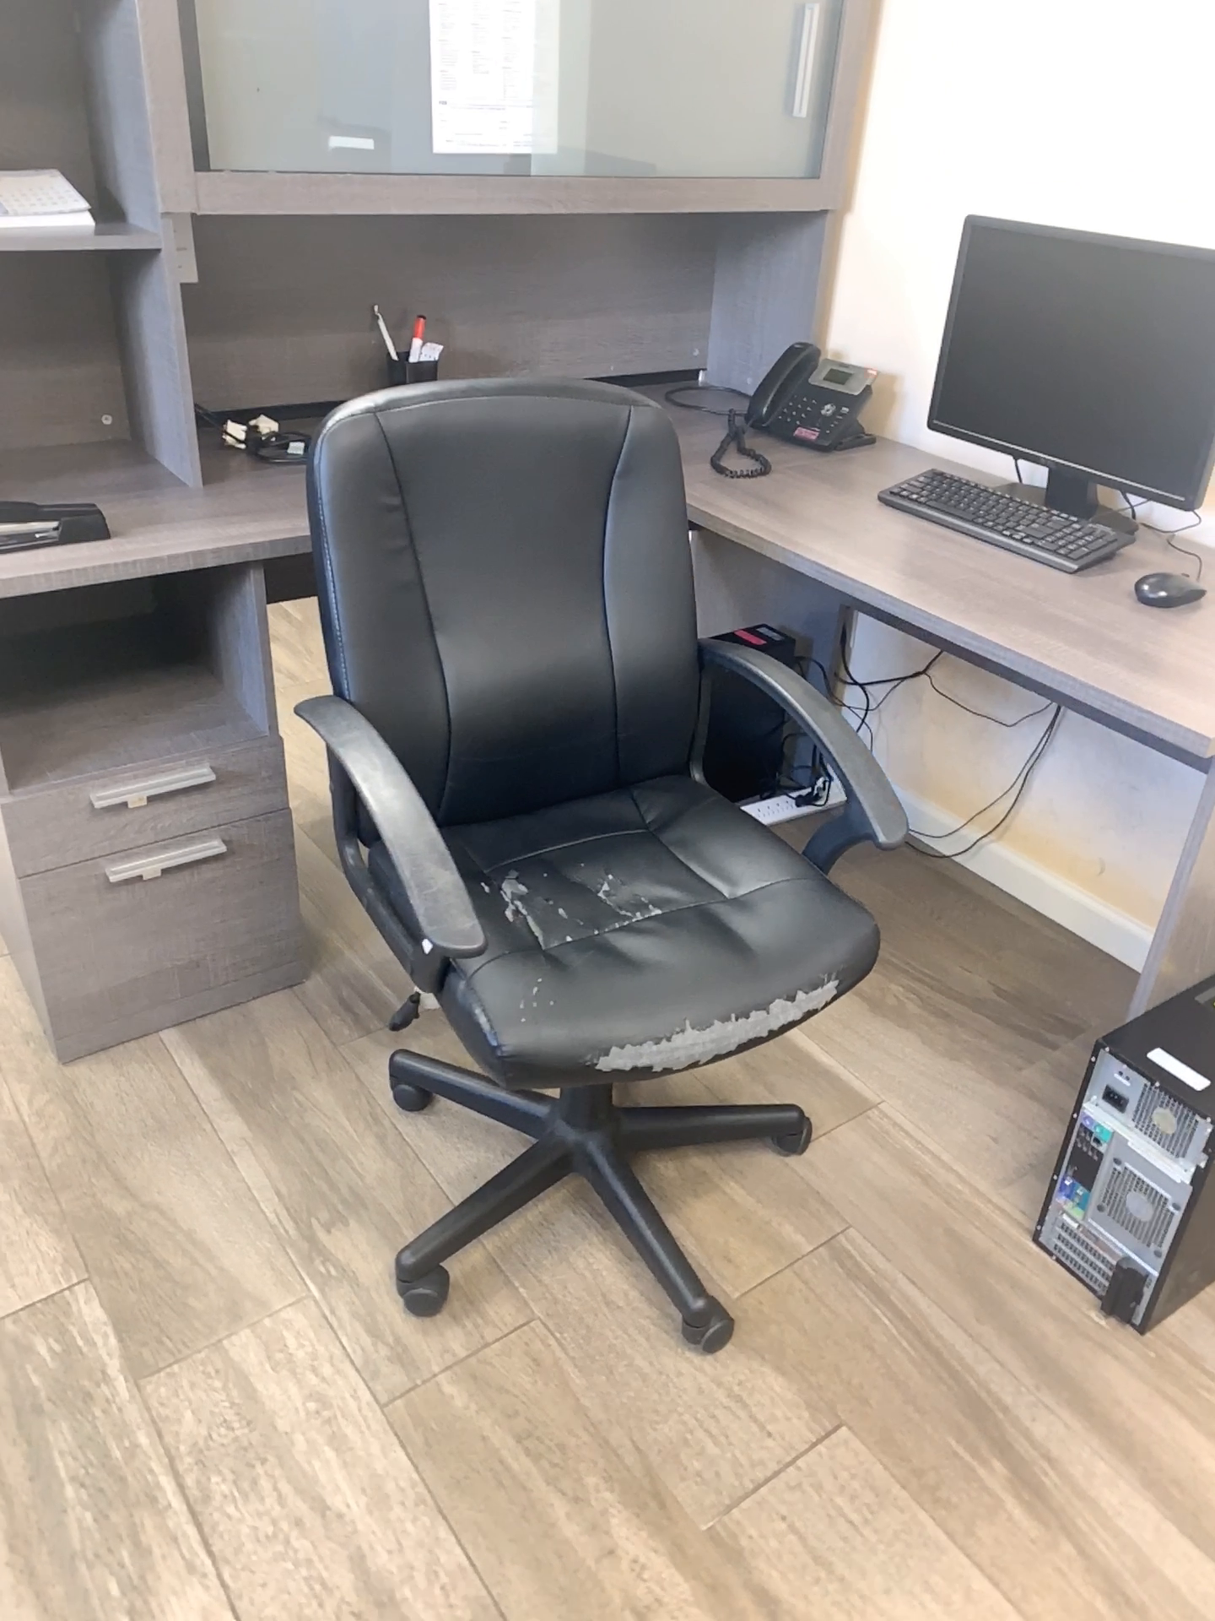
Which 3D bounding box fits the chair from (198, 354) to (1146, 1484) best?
[{"bbox_3d":[0.002,0.057,1.393,0.651,0.945,0.643,-14,35,-27],"label":"chair"}]
